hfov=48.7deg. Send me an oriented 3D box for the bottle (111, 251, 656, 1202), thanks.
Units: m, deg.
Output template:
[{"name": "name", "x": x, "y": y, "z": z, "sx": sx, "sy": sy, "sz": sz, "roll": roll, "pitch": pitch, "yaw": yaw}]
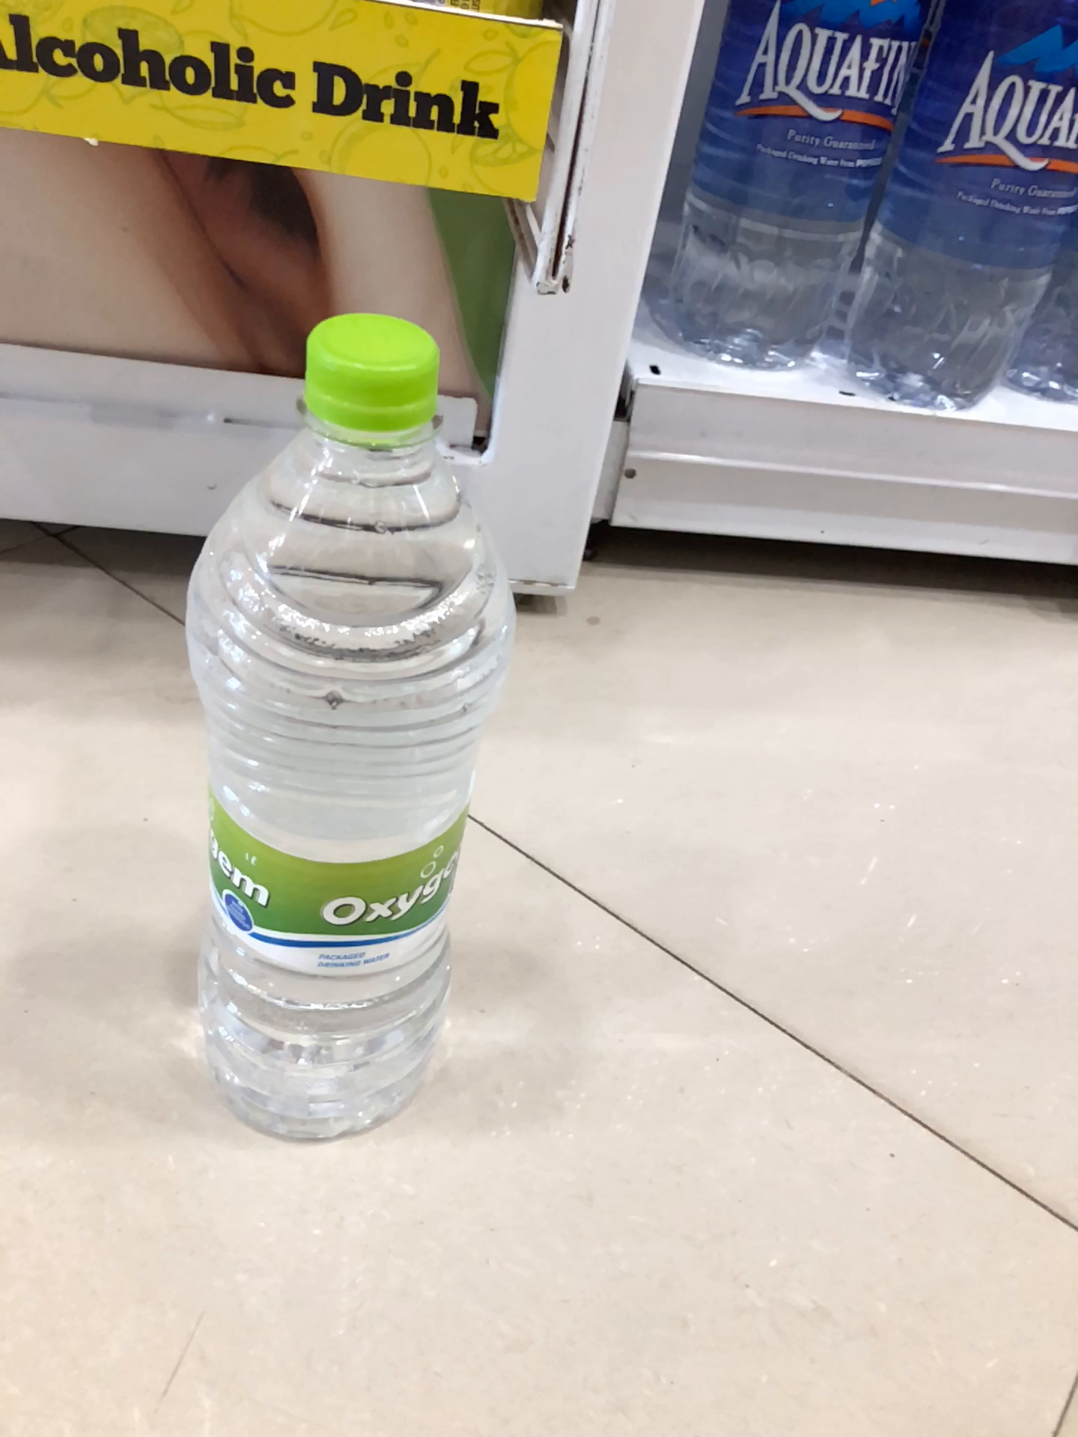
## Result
[{"name": "bottle", "x": -0.054, "y": 0.015, "z": 0.336, "sx": 0.090, "sy": 0.258, "sz": 0.080, "roll": -16, "pitch": 46, "yaw": -31}]
